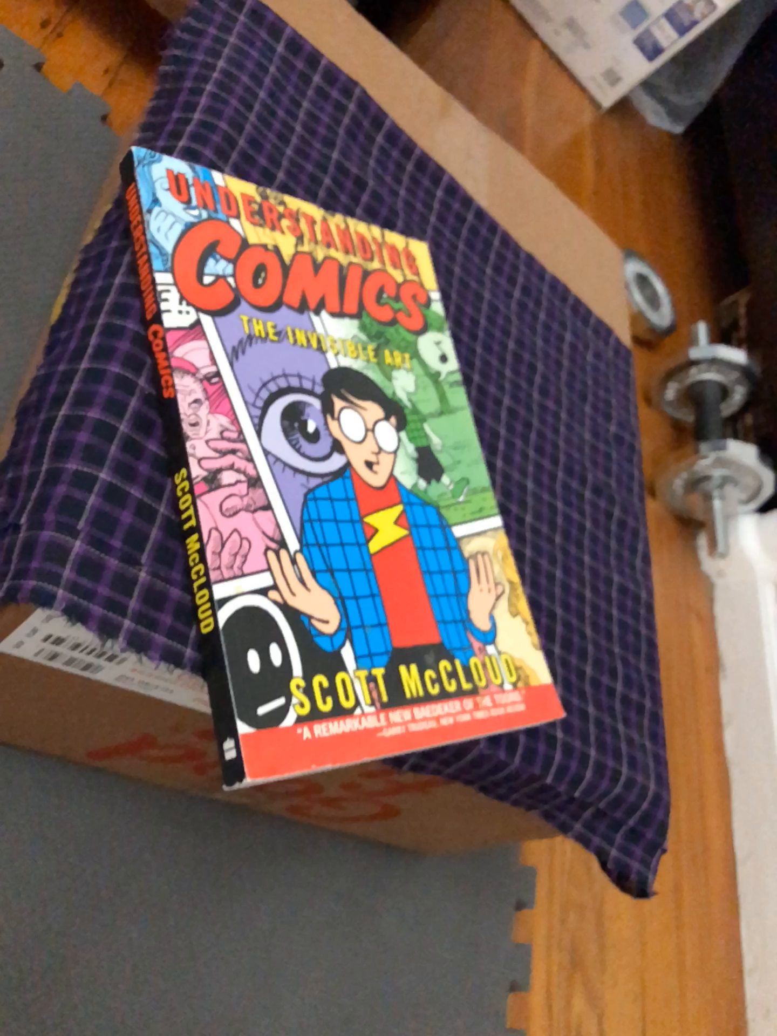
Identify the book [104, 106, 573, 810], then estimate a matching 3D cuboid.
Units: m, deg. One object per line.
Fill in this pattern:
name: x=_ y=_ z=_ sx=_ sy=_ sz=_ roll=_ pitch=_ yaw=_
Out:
book: x=-0.018 y=-0.032 z=0.371 sx=0.171 sy=0.020 sz=0.270 roll=3 pitch=66 yaw=-43
